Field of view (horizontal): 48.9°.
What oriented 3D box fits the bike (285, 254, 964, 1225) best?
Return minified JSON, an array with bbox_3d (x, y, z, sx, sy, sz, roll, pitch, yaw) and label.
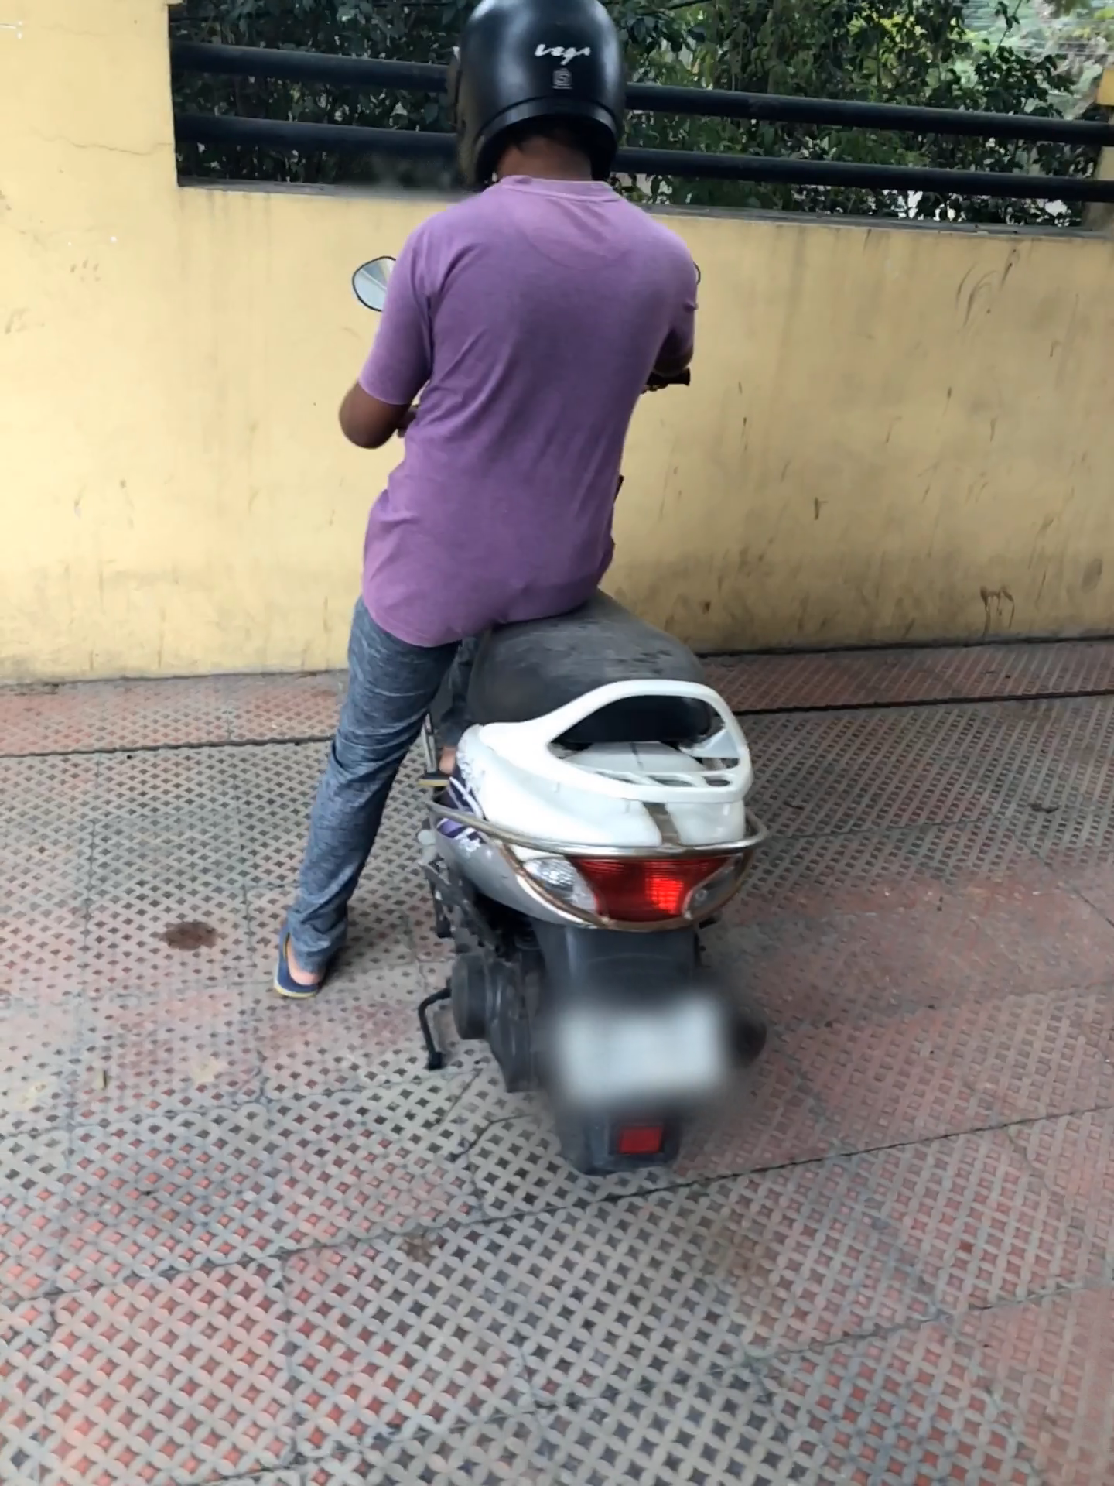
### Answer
[{"bbox_3d":[-0.083,-0.162,2.143,0.643,0.949,1.509,-3,32,-14],"label":"bike"}]
